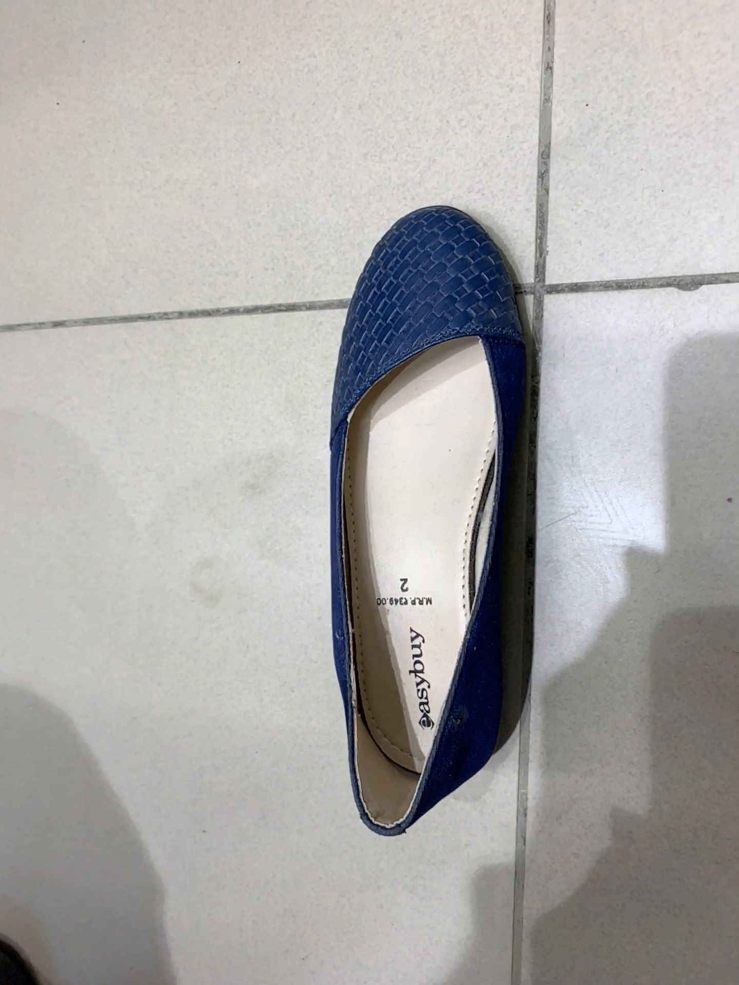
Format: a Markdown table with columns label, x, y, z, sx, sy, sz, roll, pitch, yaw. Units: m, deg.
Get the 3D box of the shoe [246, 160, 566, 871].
| label | x | y | z | sx | sy | sz | roll | pitch | yaw |
| --- | --- | --- | --- | --- | --- | --- | --- | --- | --- |
| shoe | 0.015 | 0.009 | 0.283 | 0.090 | 0.060 | 0.220 | -3 | 90 | 26 |
